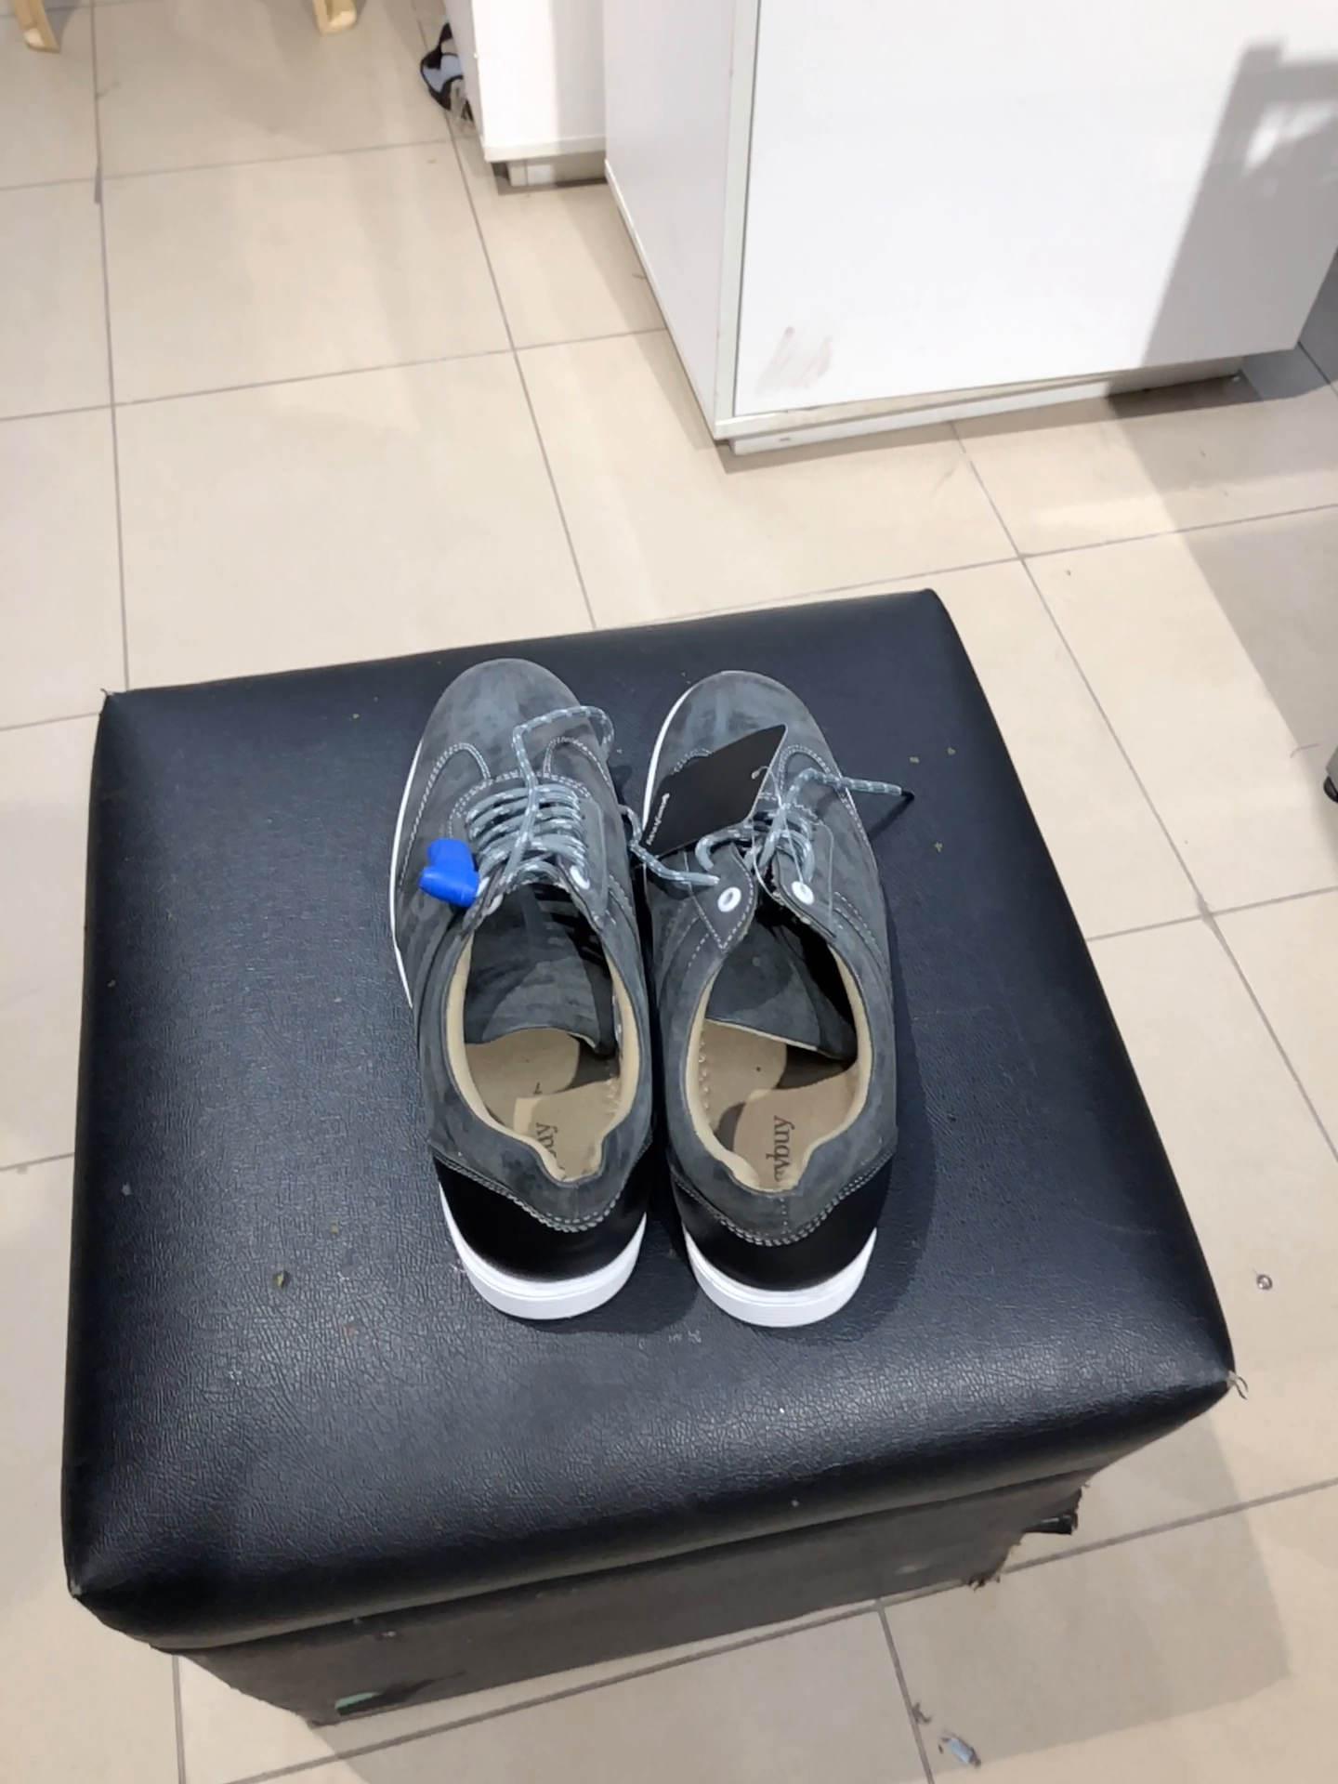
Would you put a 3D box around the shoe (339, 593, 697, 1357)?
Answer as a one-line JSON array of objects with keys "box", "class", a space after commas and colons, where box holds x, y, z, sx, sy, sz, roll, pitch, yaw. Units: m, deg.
[{"box": [-0.059, 0.023, 0.536, 0.100, 0.107, 0.250, -6, 56, -5], "class": "shoe"}]

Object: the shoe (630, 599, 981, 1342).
[{"box": [0.037, 0.022, 0.534, 0.100, 0.107, 0.250, 0, 56, -1], "class": "shoe"}]
